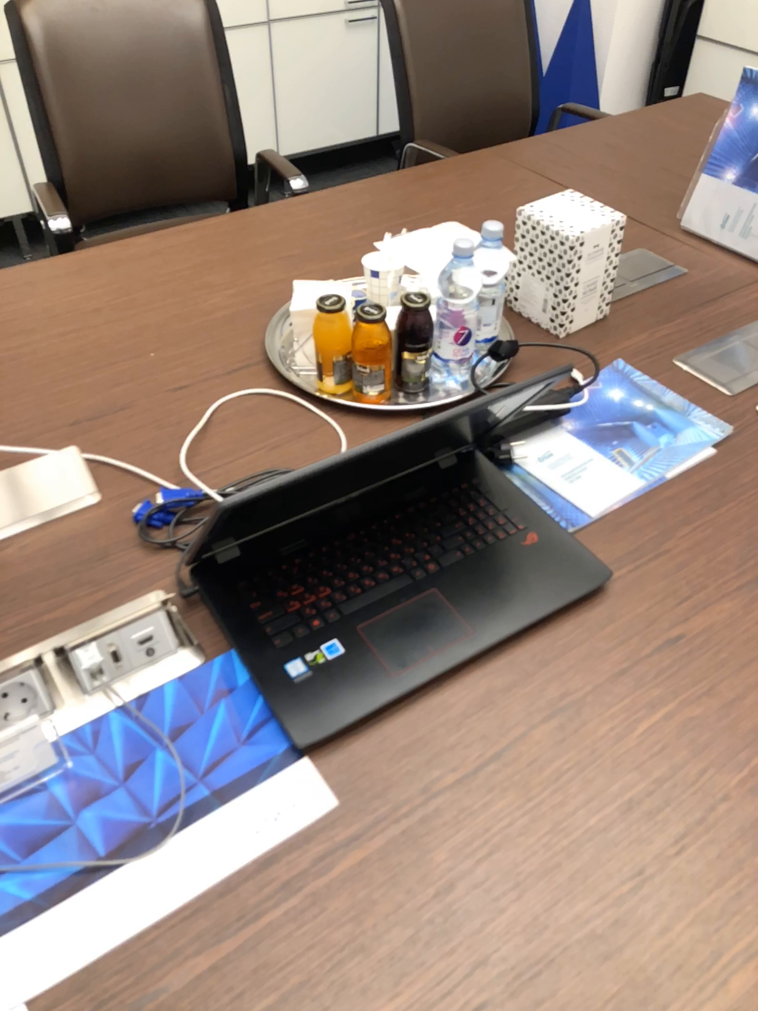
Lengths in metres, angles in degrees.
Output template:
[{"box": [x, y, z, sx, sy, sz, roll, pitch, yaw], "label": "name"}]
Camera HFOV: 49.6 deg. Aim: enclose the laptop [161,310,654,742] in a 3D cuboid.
[{"box": [0.027, -0.001, 0.805, 0.378, 0.189, 0.237, -23, 49, -24], "label": "laptop"}]
